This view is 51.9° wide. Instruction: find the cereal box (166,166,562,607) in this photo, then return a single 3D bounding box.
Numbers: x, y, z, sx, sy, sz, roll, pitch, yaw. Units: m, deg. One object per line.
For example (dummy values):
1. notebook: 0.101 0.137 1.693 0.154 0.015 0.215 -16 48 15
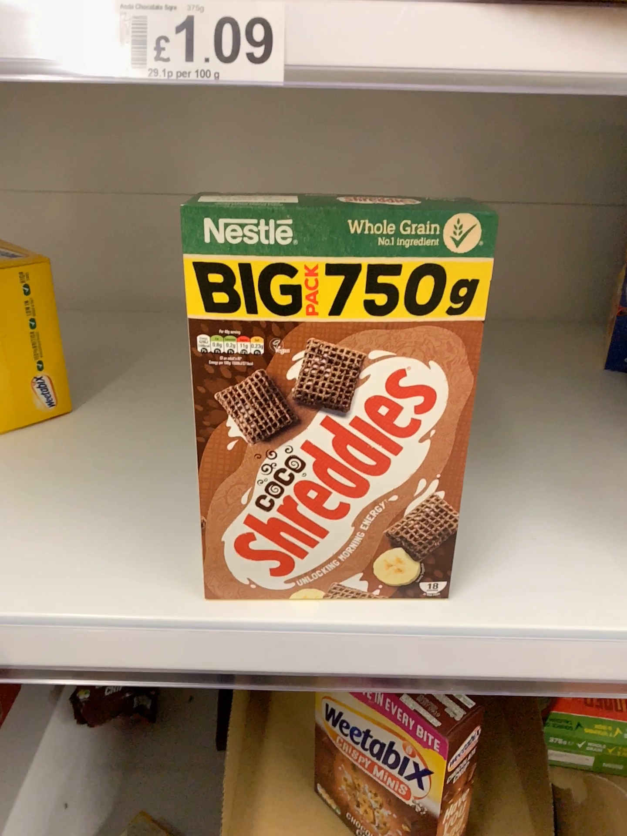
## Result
1. cereal box: 0.023 -0.011 0.440 0.210 0.288 0.081 1 26 -2
